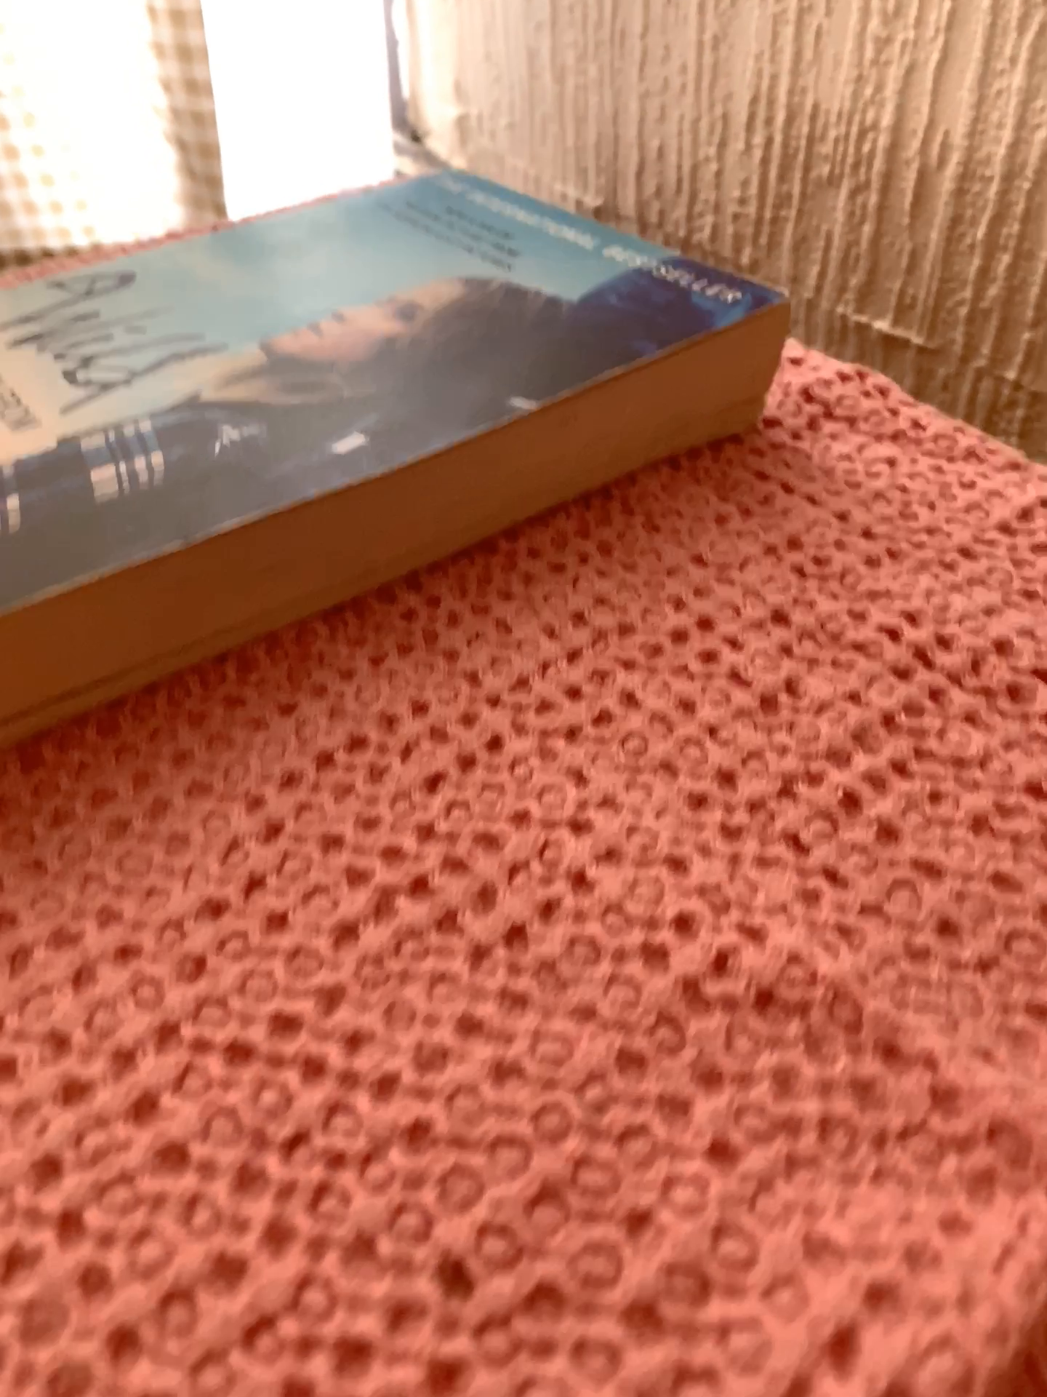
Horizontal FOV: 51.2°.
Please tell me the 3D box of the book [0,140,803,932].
[{"bbox_3d":[-0.069,-0.062,0.228,0.211,0.030,0.141,-29,49,-26],"label":"book"}]
